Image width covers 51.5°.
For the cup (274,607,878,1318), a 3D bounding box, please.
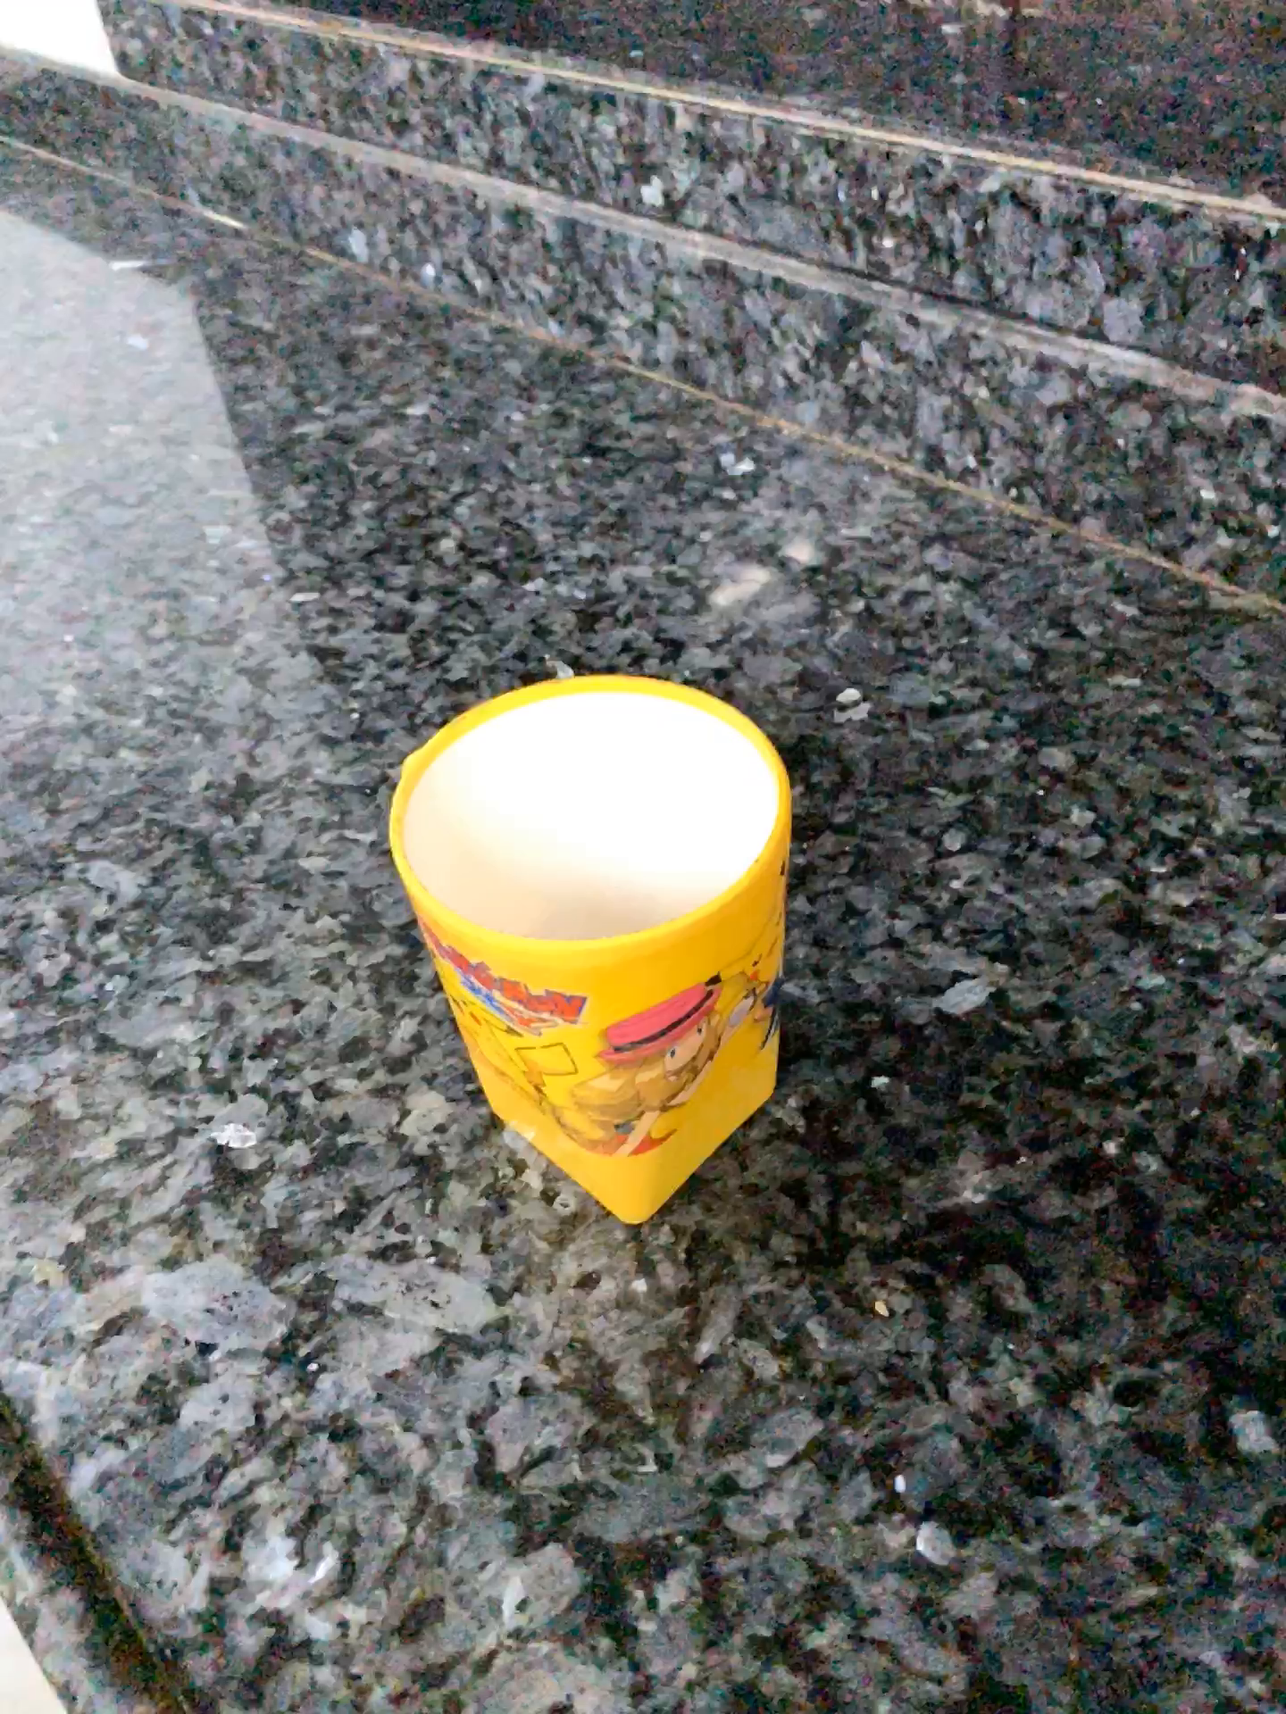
[{"bbox_3d":[-0.011,0.022,0.302,0.101,0.109,0.070,30,55,32],"label":"cup"}]
